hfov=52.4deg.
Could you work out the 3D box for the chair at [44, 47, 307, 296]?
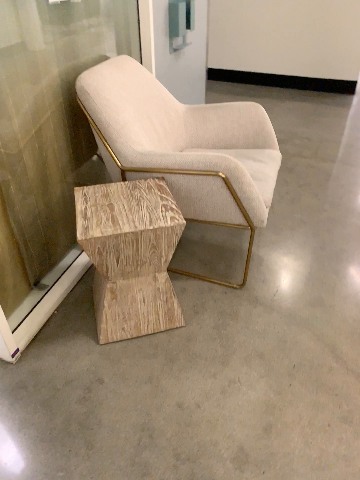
[{"bbox_3d":[0.049,-0.376,1.725,0.881,0.815,0.754,10,37,14],"label":"chair"}]
